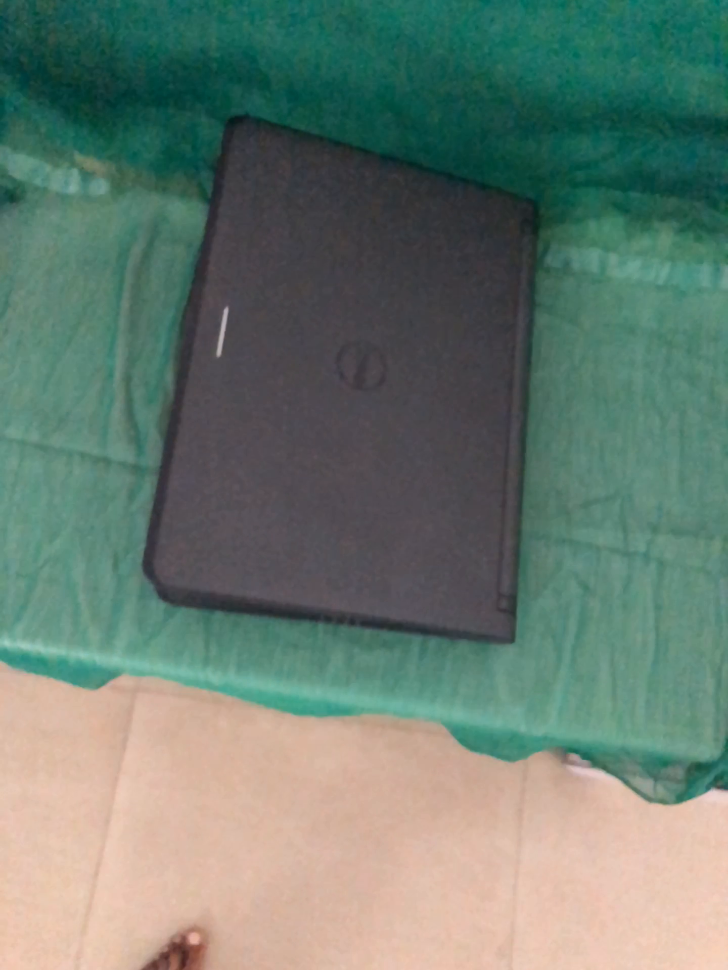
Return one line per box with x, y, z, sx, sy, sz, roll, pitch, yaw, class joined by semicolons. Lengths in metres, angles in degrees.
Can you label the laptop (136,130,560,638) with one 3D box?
0.001;-0.070;0.530;0.229;0.065;0.305;7;73;-2;laptop
